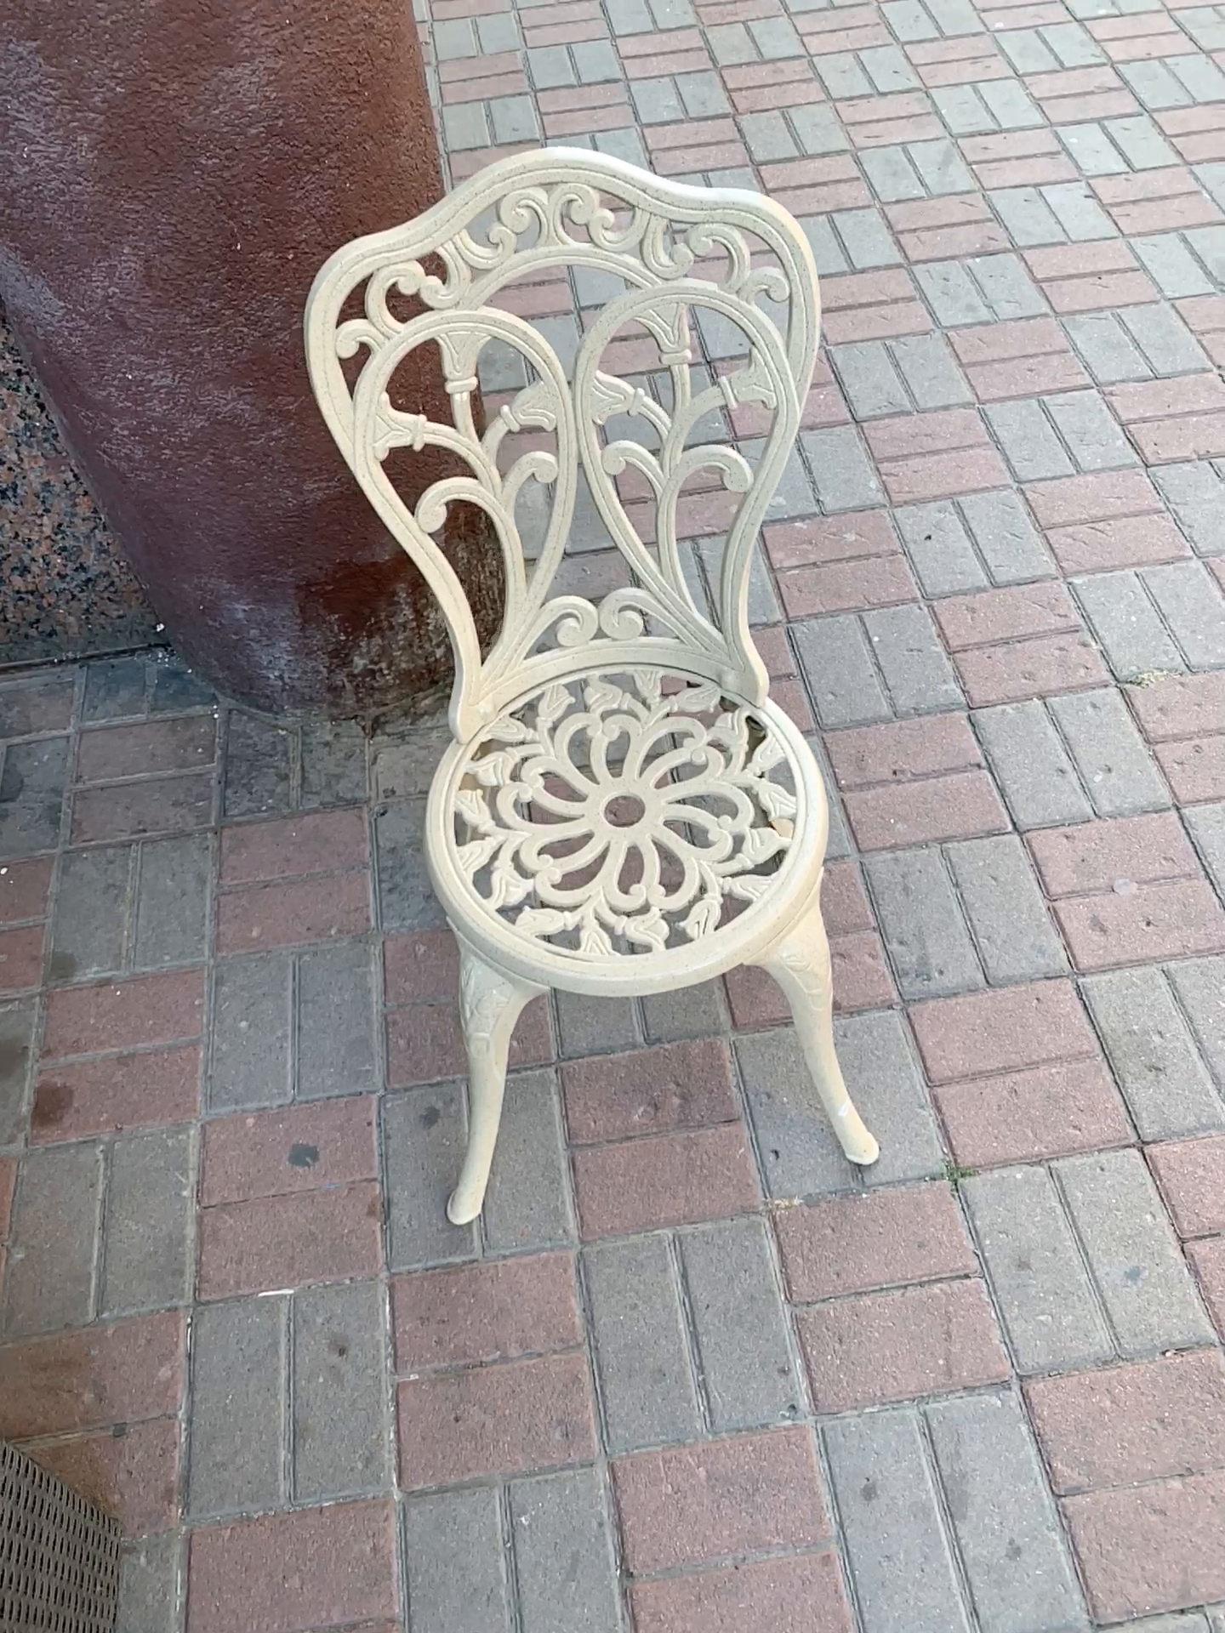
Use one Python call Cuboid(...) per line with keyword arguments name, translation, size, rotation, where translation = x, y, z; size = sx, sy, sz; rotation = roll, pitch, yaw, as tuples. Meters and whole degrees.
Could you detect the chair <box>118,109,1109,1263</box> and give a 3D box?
Cuboid(name="chair", translation=(-0.006, -0.041, 1.084), size=(0.480, 0.798, 0.552), rotation=(-8, 54, -1))
